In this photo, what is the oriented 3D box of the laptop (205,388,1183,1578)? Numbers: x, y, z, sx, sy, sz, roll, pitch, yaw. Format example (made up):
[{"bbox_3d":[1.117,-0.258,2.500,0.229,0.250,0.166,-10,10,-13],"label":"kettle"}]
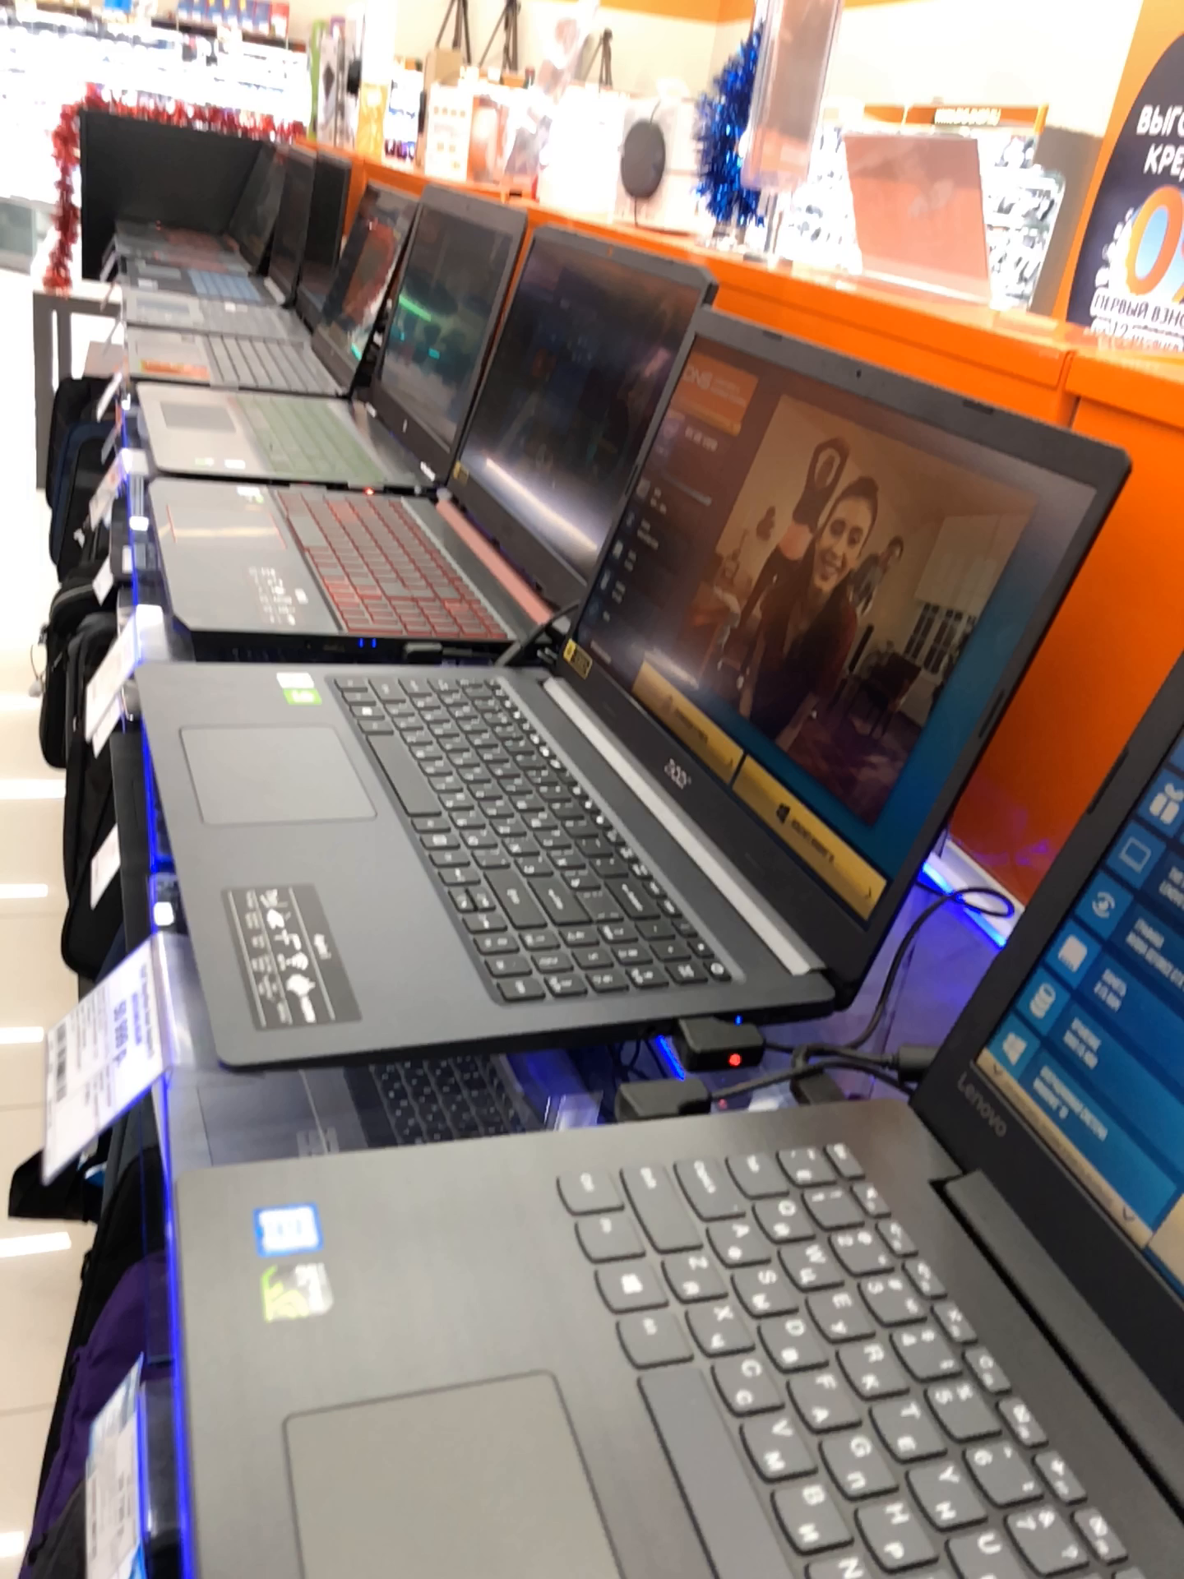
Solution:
[{"bbox_3d":[0.105,0.086,0.238,0.322,0.230,0.350,-1,27,-21],"label":"laptop"}]

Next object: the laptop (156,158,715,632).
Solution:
[{"bbox_3d":[-0.134,-0.283,0.922,0.301,0.231,0.310,-2,29,-25],"label":"laptop"}]

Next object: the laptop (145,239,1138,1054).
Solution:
[{"bbox_3d":[-0.028,-0.092,0.592,0.302,0.224,0.354,-1,26,-23],"label":"laptop"}]
